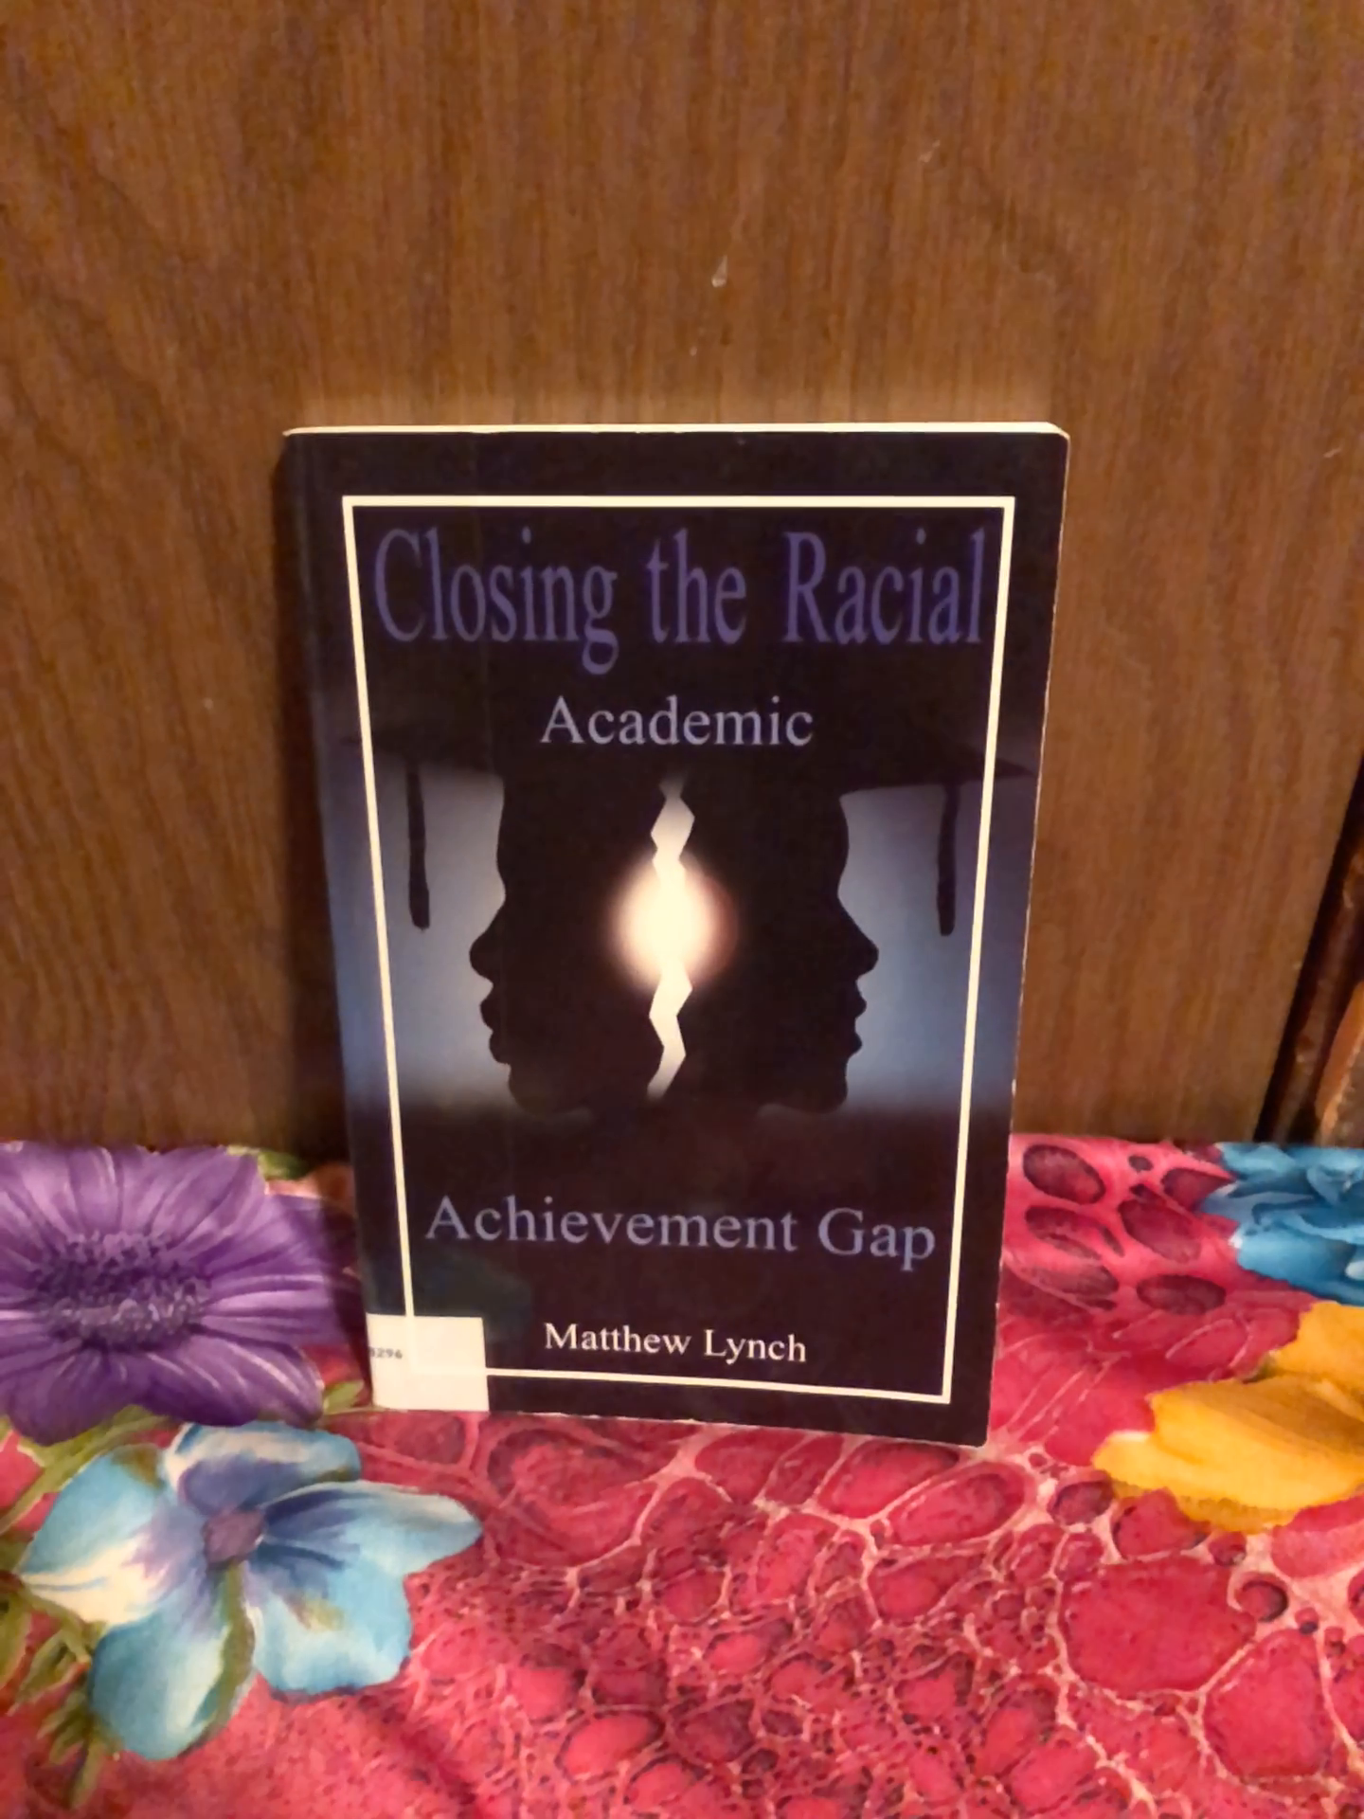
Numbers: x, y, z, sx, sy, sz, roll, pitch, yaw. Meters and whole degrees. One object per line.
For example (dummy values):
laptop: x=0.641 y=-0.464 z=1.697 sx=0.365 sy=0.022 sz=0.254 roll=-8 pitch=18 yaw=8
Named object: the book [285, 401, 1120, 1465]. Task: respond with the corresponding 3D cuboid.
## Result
book: x=0.003 y=0.014 z=0.325 sx=0.146 sy=0.230 sz=0.036 roll=1 pitch=23 yaw=3
